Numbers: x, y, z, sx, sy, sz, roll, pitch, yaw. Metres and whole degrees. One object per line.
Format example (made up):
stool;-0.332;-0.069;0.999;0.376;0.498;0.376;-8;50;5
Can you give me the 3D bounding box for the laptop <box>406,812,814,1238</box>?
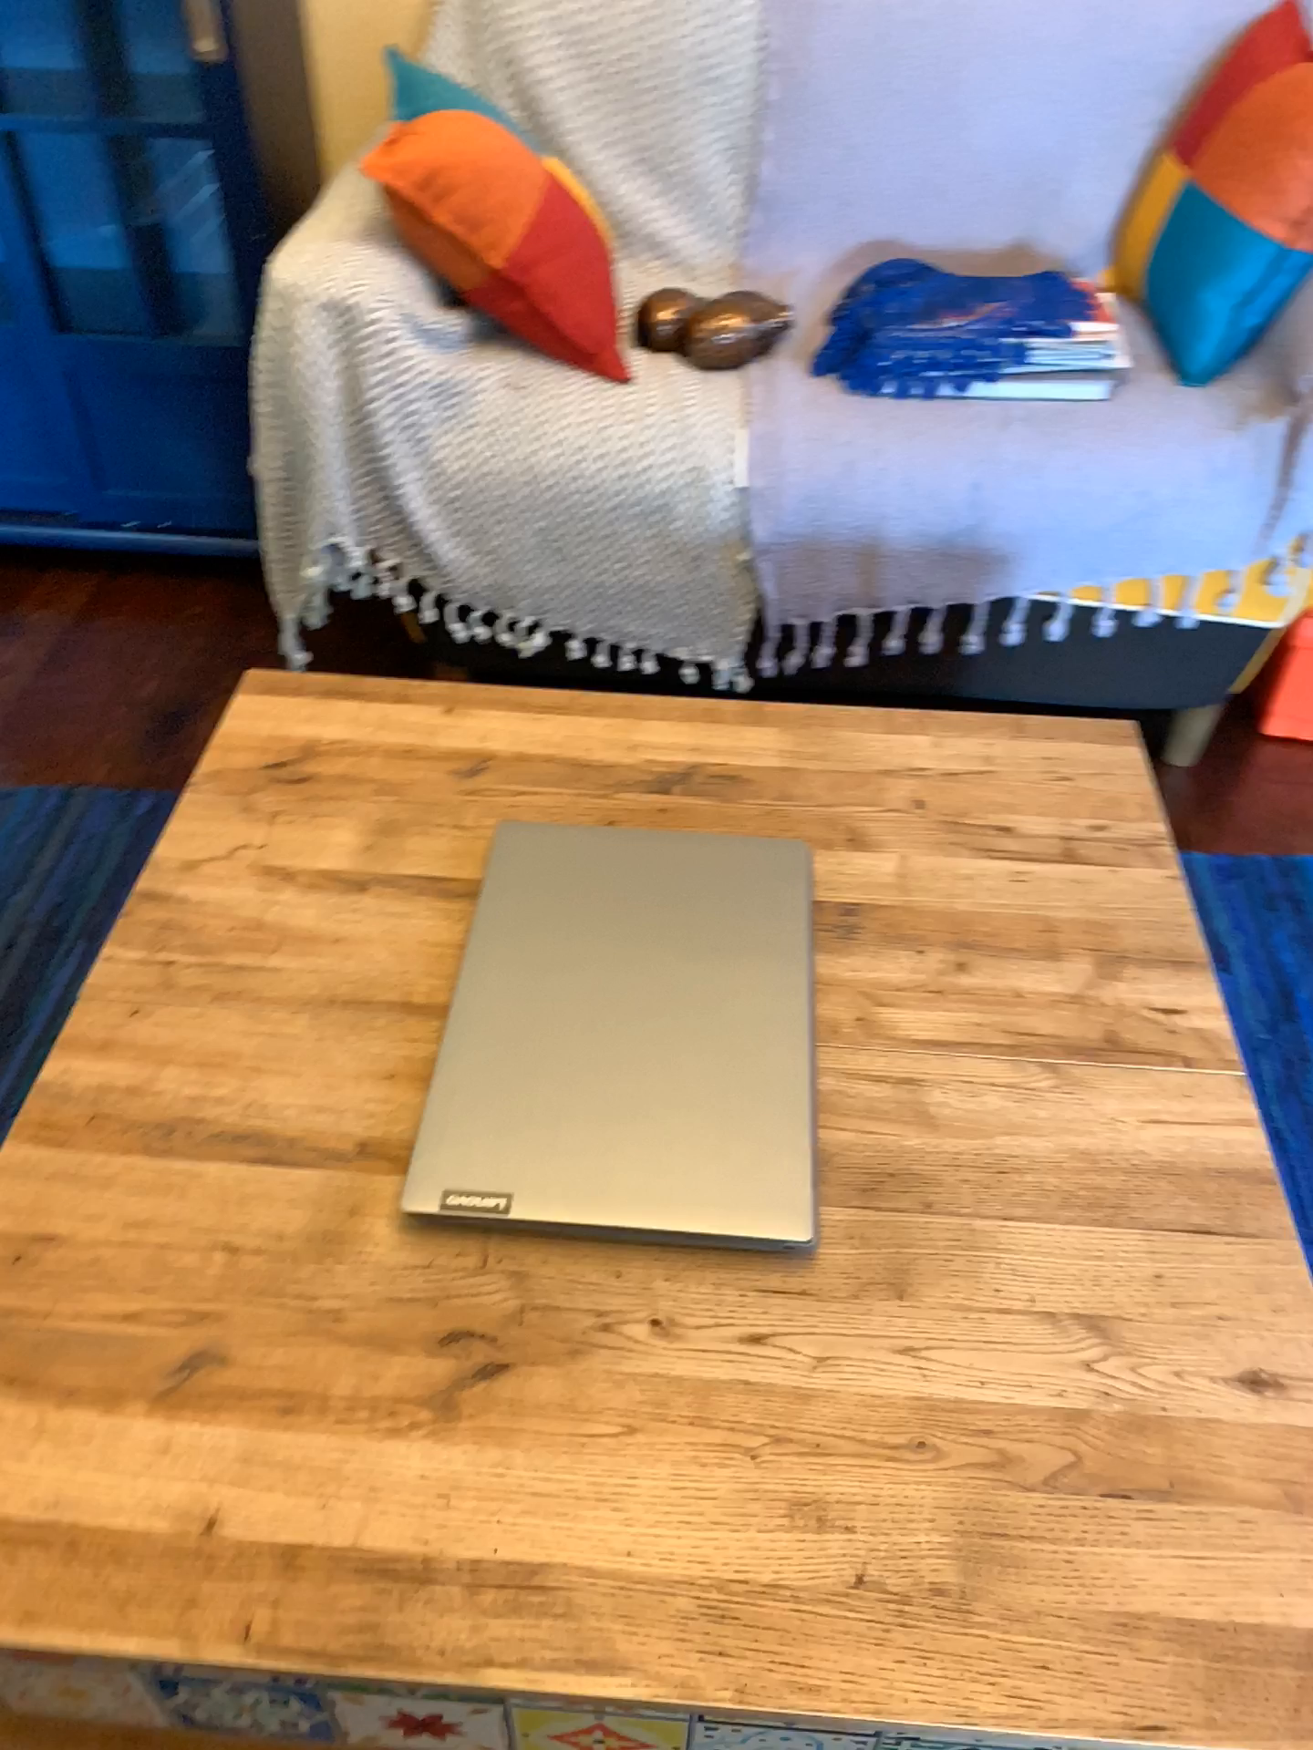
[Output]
laptop;-0.015;0.081;0.913;0.237;0.011;0.348;5;42;1
